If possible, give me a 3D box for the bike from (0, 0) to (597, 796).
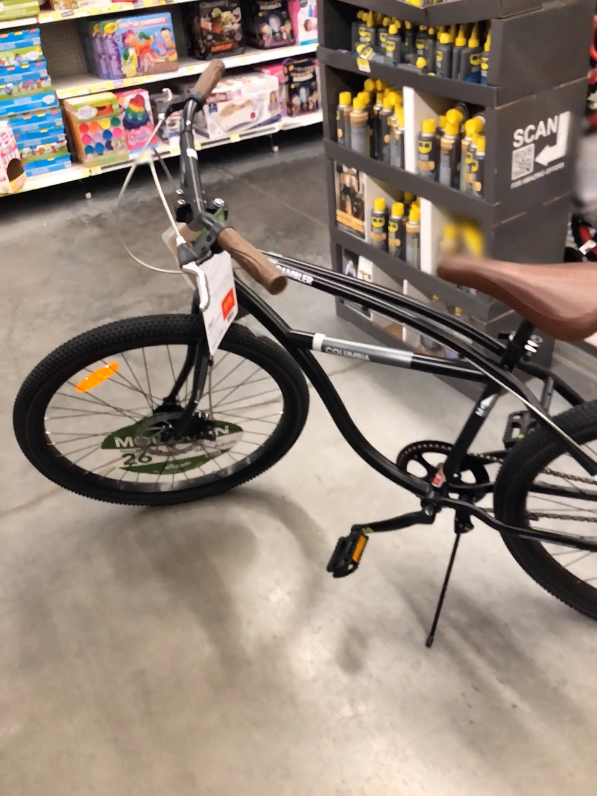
[{"bbox_3d":[0.148,0.005,1.037,1.583,0.975,0.655,11,40,13],"label":"bike"}]
